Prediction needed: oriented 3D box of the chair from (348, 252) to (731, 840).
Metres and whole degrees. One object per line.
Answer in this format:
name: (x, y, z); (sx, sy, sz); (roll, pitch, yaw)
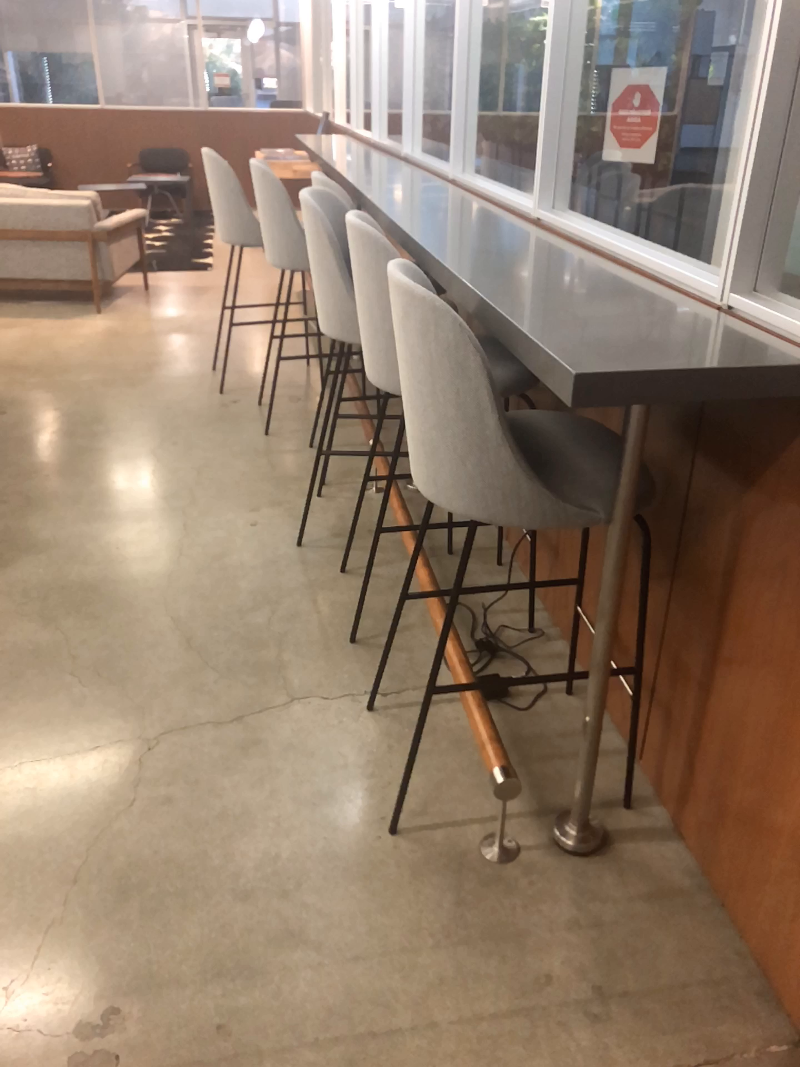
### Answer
chair: (0.196, -0.011, 1.838); (0.531, 1.002, 0.665); (-3, 27, -8)
